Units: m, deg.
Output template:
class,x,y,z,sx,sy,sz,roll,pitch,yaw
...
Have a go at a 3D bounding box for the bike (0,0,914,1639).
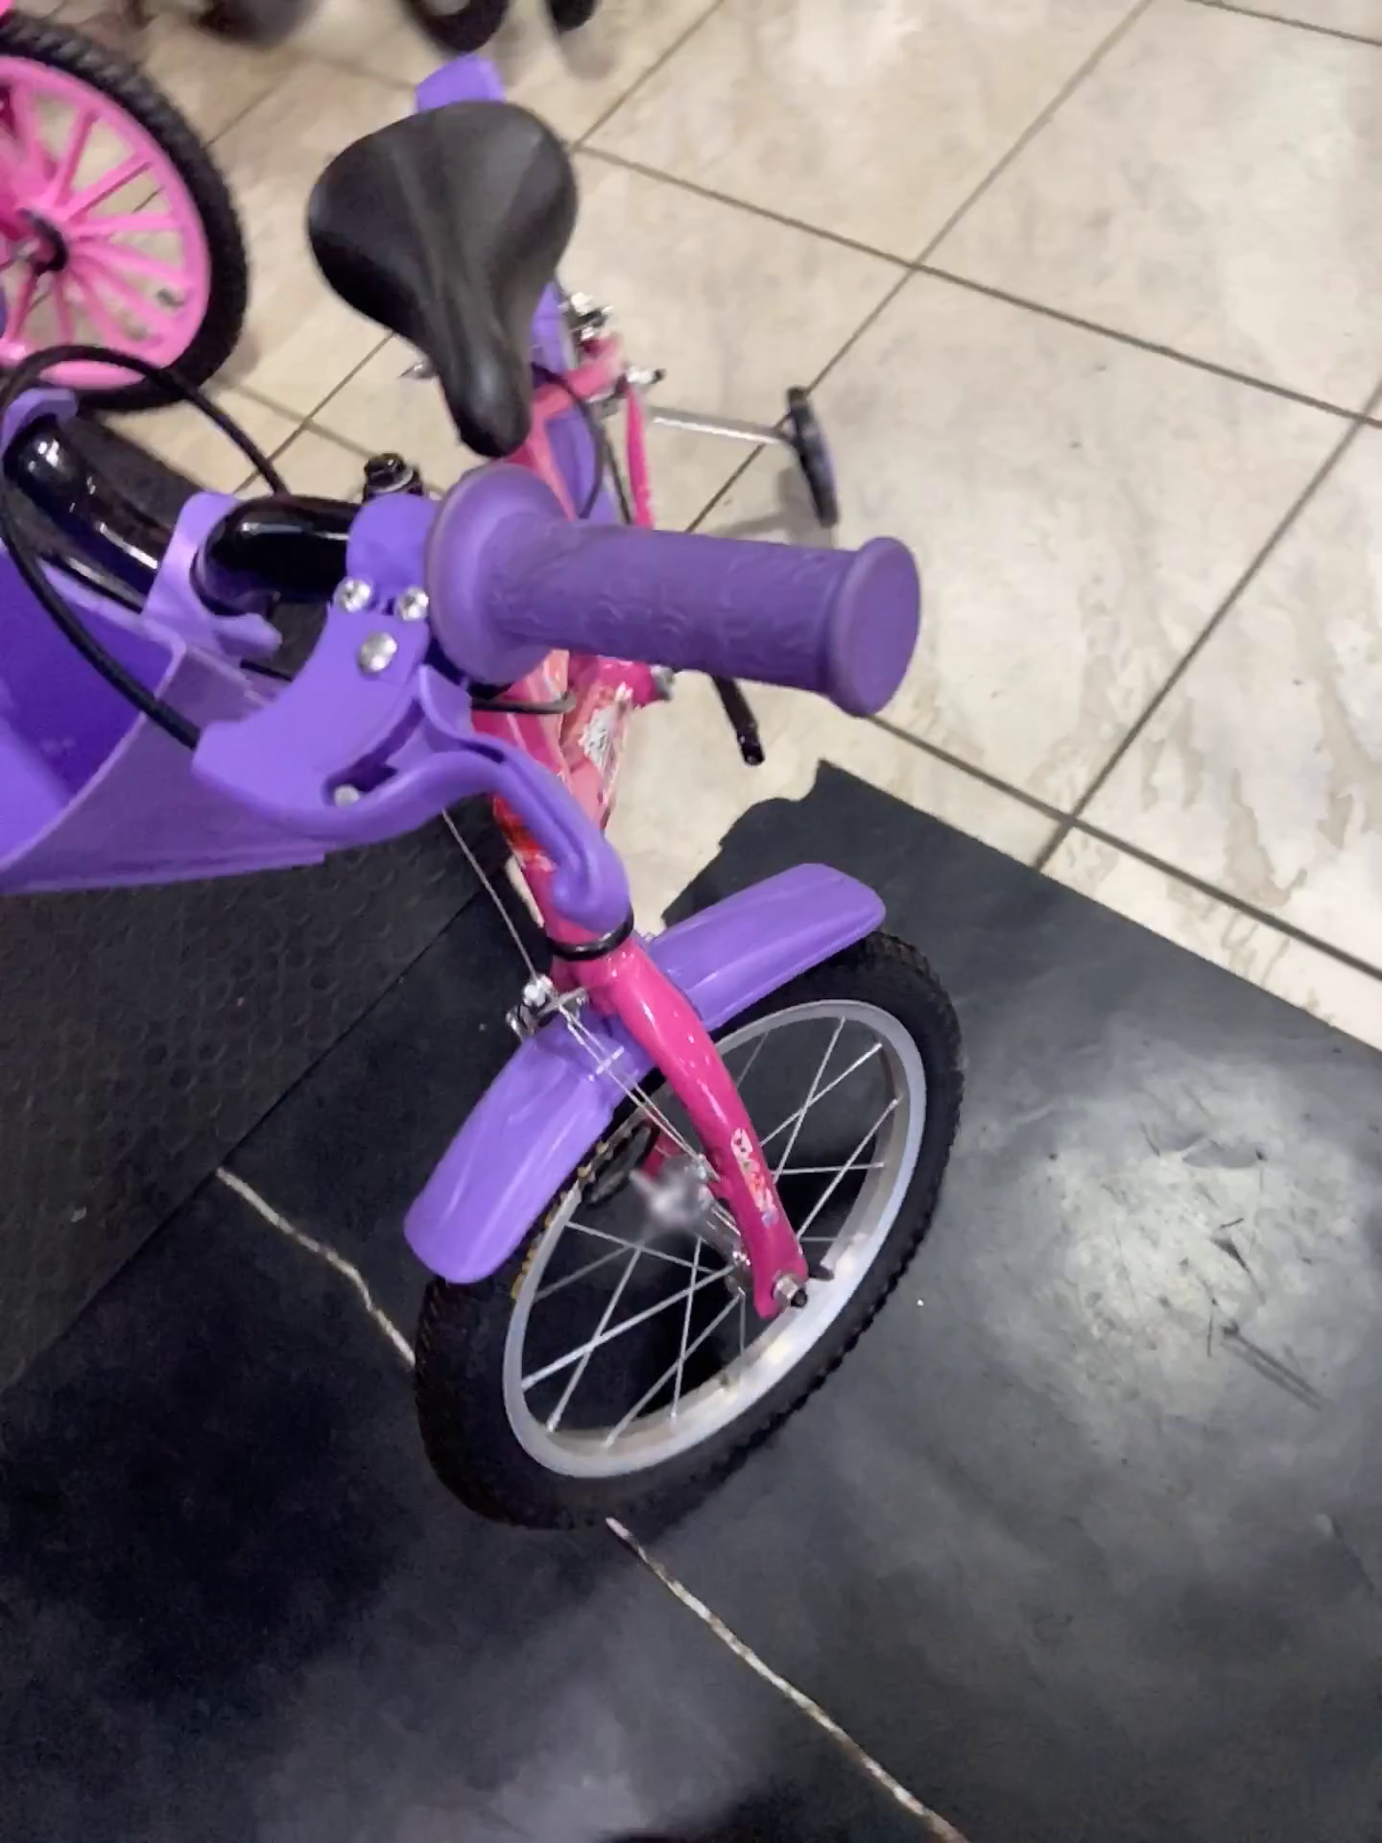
class,x,y,z,sx,sy,sz,roll,pitch,yaw
bike,-0.198,-0.168,0.813,0.546,0.704,0.924,-8,65,9
